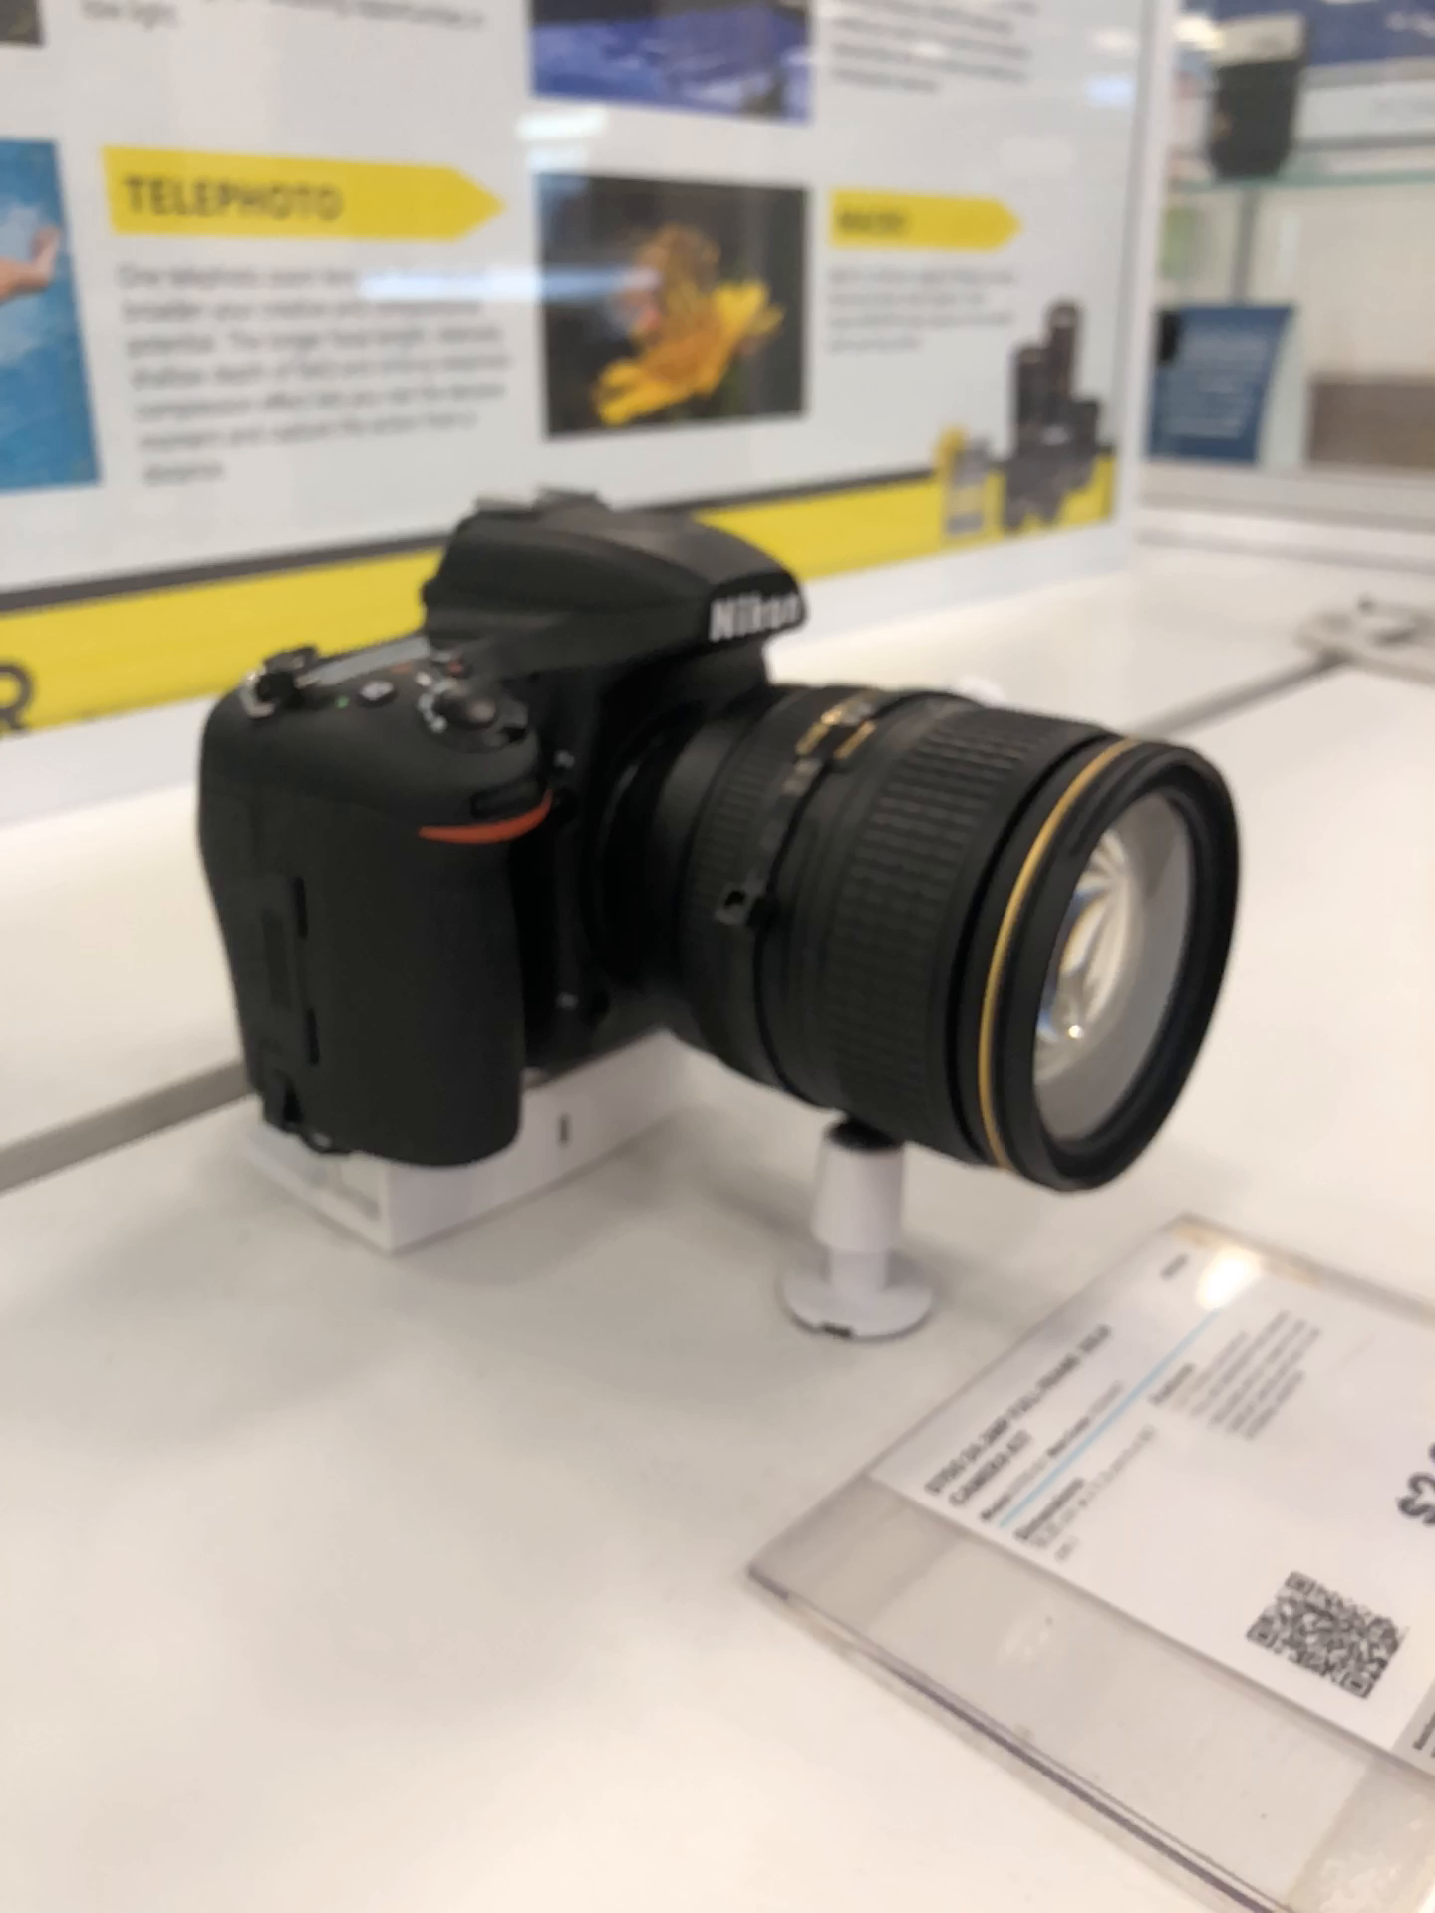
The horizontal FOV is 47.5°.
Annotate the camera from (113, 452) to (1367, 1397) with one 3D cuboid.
[{"bbox_3d":[0.006,-0.031,0.315,0.170,0.110,0.150,17,27,36],"label":"camera"}]
